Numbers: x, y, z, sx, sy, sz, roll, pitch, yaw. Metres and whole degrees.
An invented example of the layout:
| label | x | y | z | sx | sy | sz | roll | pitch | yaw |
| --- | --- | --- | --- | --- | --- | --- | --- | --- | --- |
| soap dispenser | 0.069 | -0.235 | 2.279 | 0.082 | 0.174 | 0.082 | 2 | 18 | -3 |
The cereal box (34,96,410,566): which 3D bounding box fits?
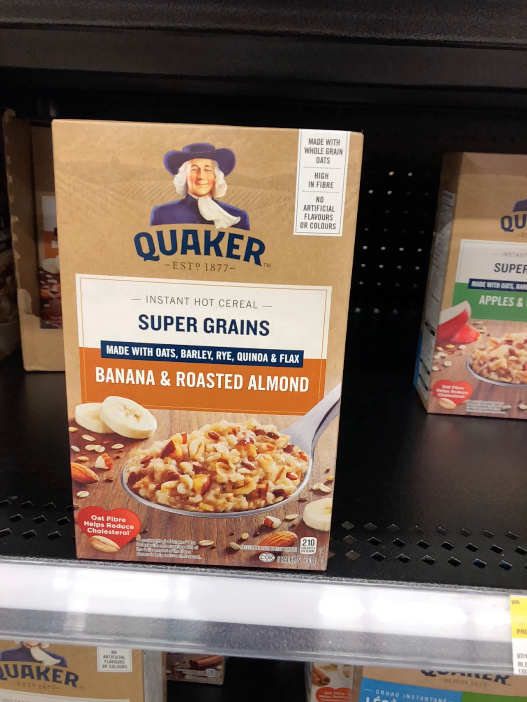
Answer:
| label | x | y | z | sx | sy | sz | roll | pitch | yaw |
| --- | --- | --- | --- | --- | --- | --- | --- | --- | --- |
| cereal box | -0.018 | -0.008 | 0.265 | 0.130 | 0.189 | 0.070 | 2 | 19 | 0 |
